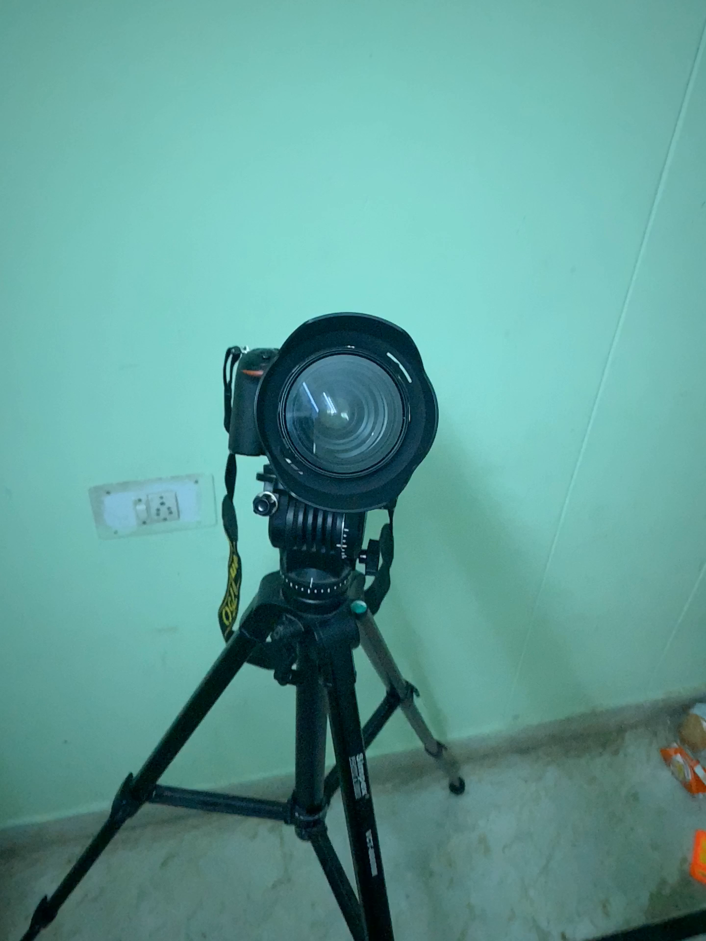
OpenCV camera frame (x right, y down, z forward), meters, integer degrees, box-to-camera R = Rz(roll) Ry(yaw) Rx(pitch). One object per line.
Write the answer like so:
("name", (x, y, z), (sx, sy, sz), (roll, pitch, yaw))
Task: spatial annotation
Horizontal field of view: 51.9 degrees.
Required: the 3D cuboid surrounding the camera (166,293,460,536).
("camera", (-0.028, -0.047, 0.522), (0.151, 0.120, 0.249), (5, 8, -3))
